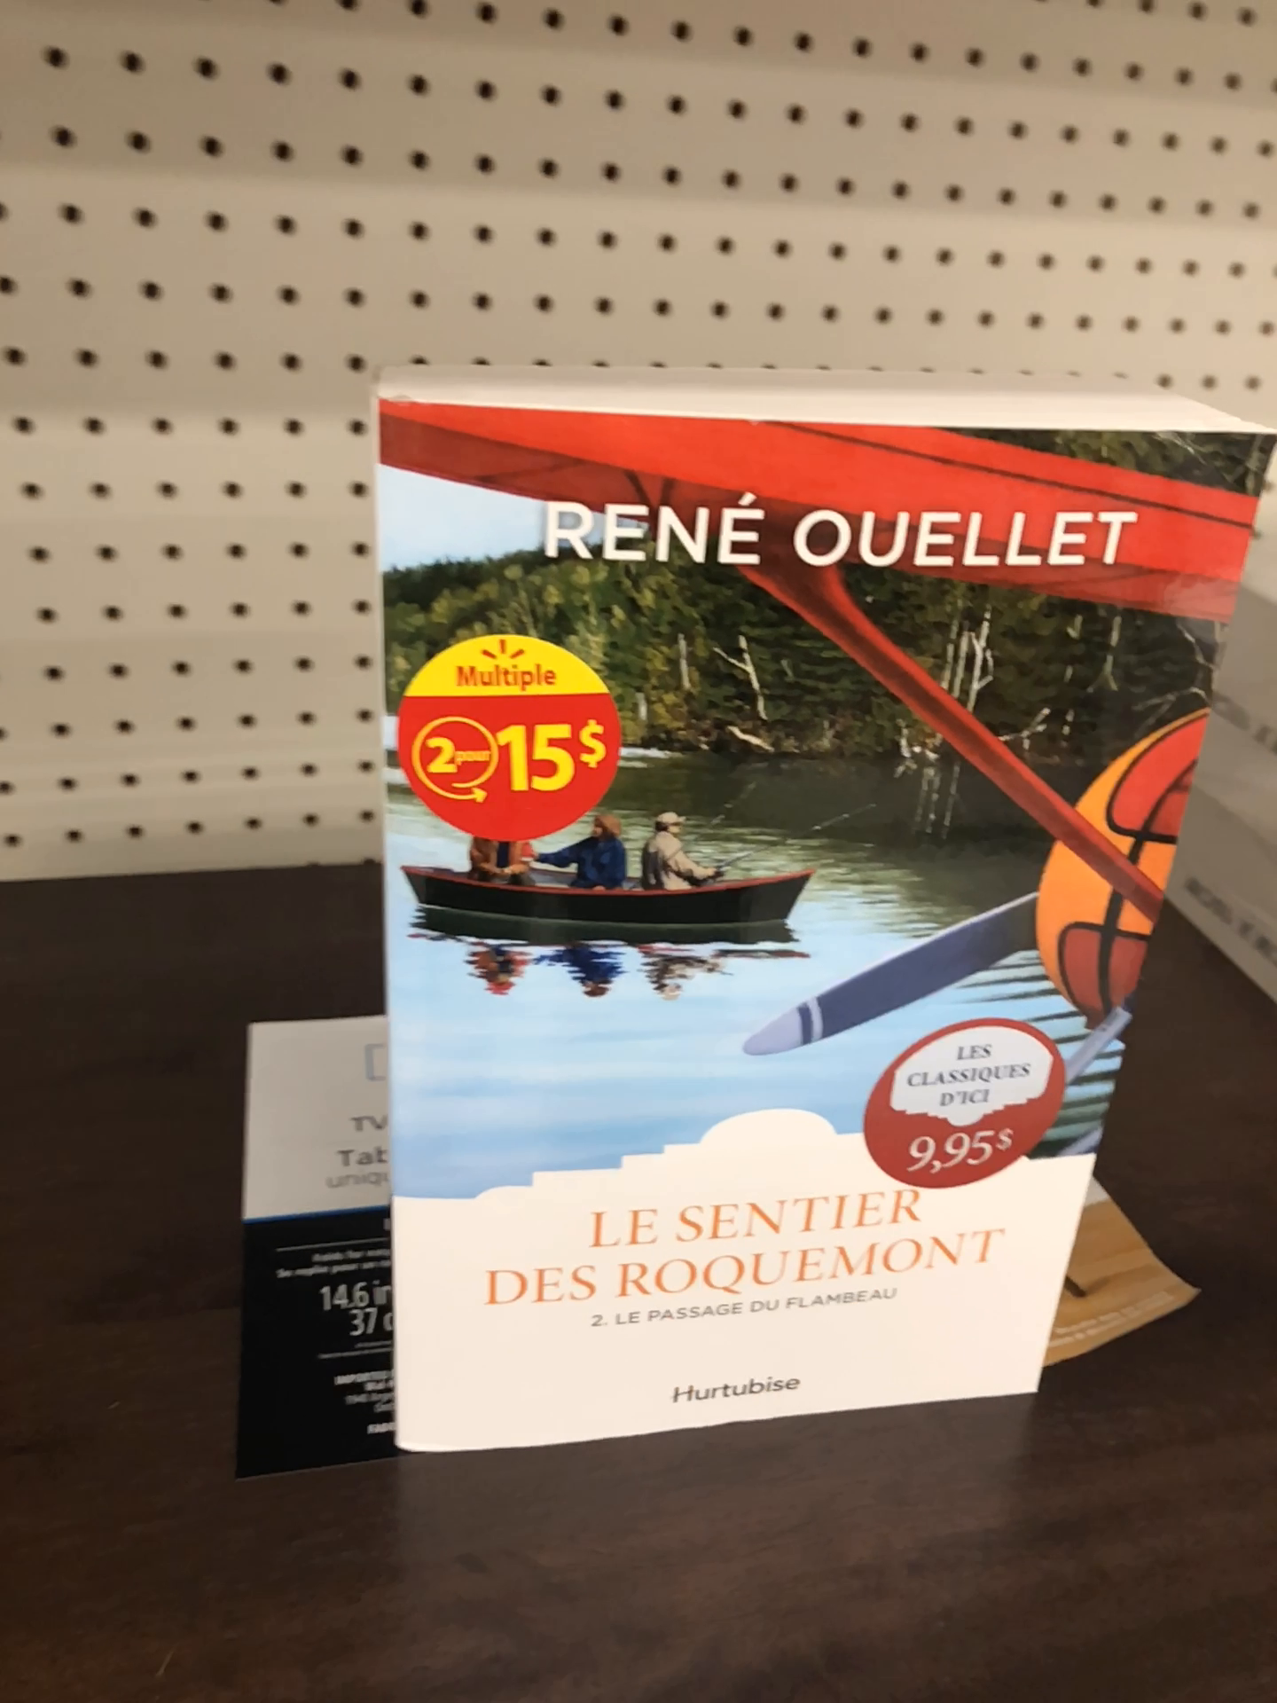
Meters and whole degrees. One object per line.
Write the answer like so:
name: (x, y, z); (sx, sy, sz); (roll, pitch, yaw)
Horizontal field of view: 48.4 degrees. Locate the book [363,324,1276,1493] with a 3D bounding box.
book: (0.025, 0.016, 0.283); (0.153, 0.215, 0.065); (-1, 26, -11)
